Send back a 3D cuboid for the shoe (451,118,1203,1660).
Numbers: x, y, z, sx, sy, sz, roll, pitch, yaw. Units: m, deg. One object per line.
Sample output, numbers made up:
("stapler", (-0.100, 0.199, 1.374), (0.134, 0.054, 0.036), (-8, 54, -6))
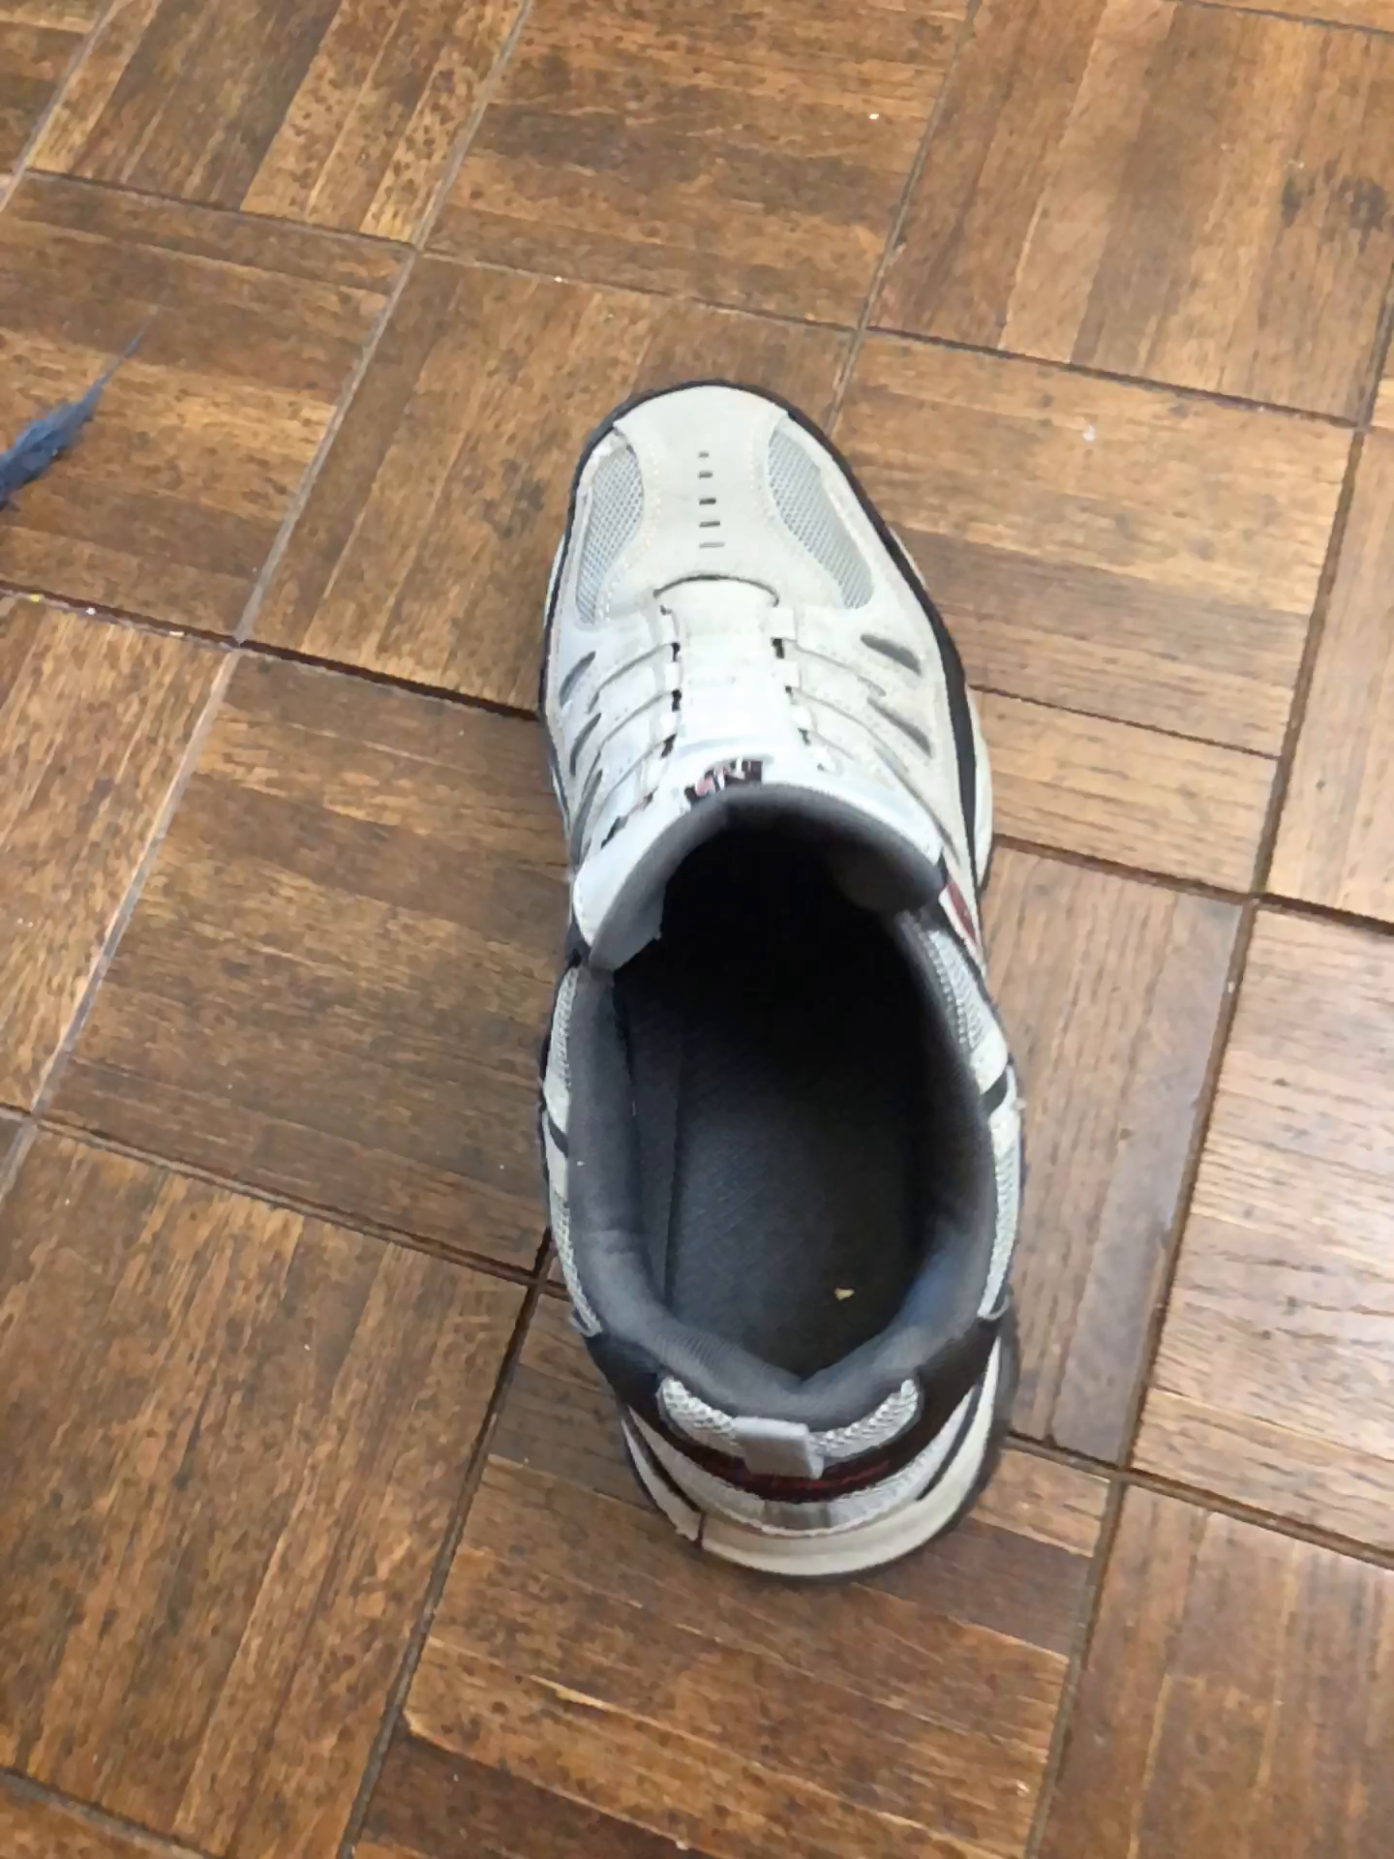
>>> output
("shoe", (0.020, -0.008, 0.382), (0.120, 0.150, 0.320), (-6, 71, 4))
